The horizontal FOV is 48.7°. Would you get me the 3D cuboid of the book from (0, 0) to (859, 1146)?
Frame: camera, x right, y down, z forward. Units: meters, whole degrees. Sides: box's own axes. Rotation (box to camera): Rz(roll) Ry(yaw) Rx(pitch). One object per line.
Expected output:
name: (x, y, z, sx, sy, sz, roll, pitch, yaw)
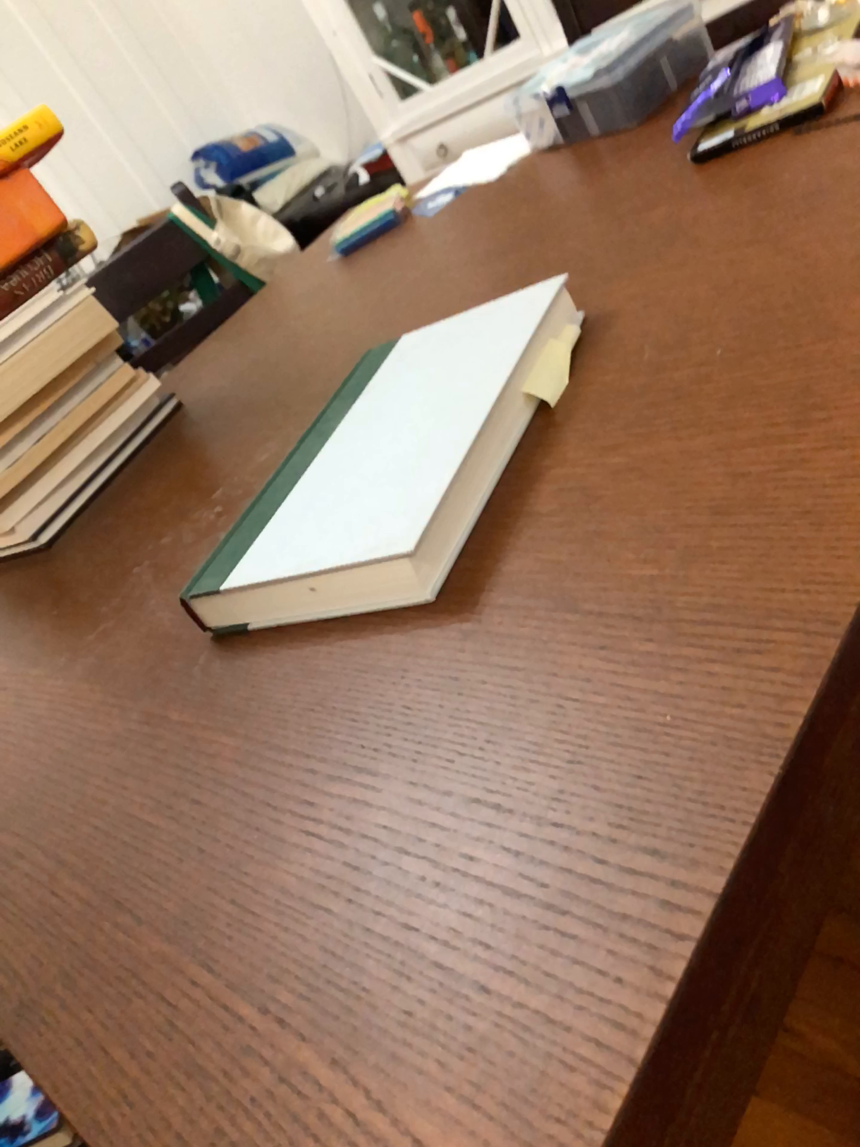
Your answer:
book: (-0.295, -0.149, 0.148, 1.000, 0.995, 1.005, -23, 31, 22)
